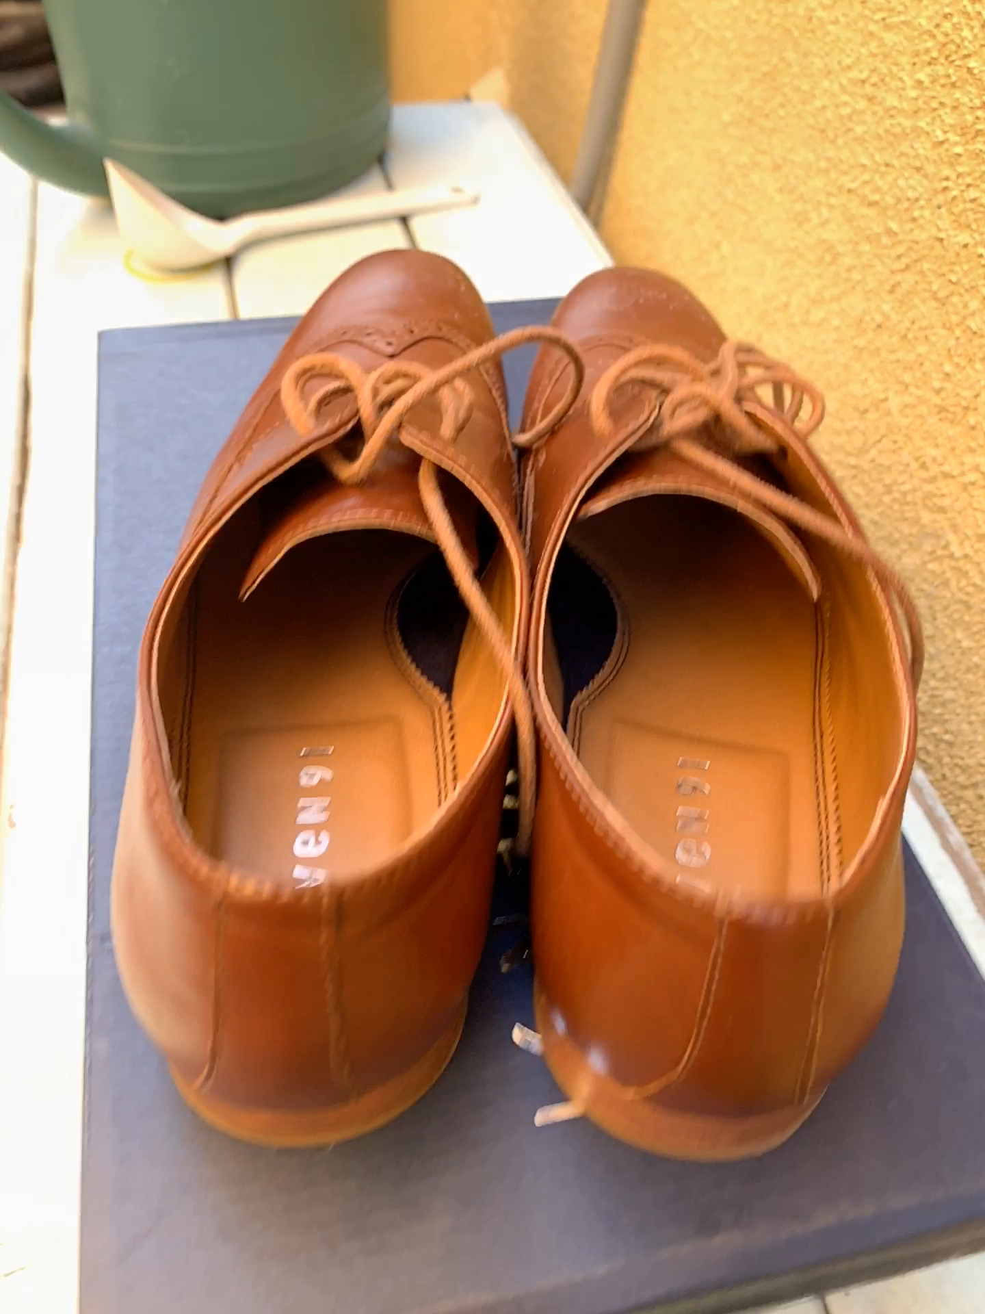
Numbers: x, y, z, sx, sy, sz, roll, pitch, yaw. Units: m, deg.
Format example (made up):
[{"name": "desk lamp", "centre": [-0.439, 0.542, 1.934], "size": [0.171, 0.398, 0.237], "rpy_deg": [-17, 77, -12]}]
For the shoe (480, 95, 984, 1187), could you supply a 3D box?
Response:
[{"name": "shoe", "centre": [0.059, -0.036, 0.280], "size": [0.110, 0.099, 0.303], "rpy_deg": [4, 49, -2]}]

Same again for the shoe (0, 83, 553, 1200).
[{"name": "shoe", "centre": [-0.043, -0.037, 0.273], "size": [0.104, 0.099, 0.303], "rpy_deg": [4, 49, -2]}]
